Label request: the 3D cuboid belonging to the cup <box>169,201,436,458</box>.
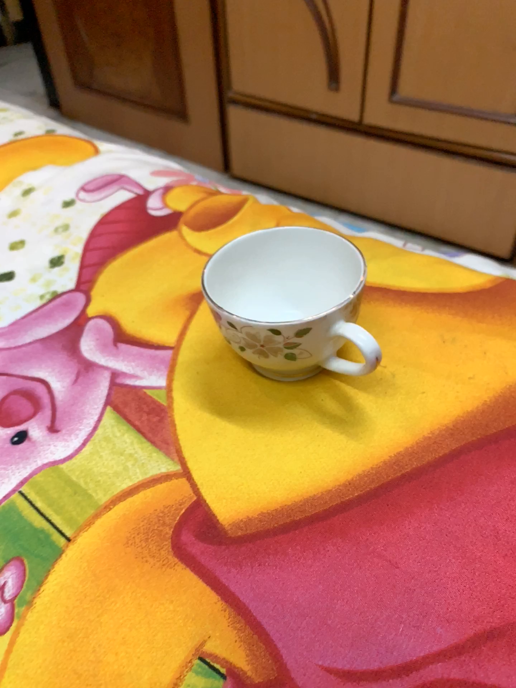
[{"bbox_3d":[0.020,-0.013,0.277,0.080,0.060,0.101,-32,50,-23],"label":"cup"}]
